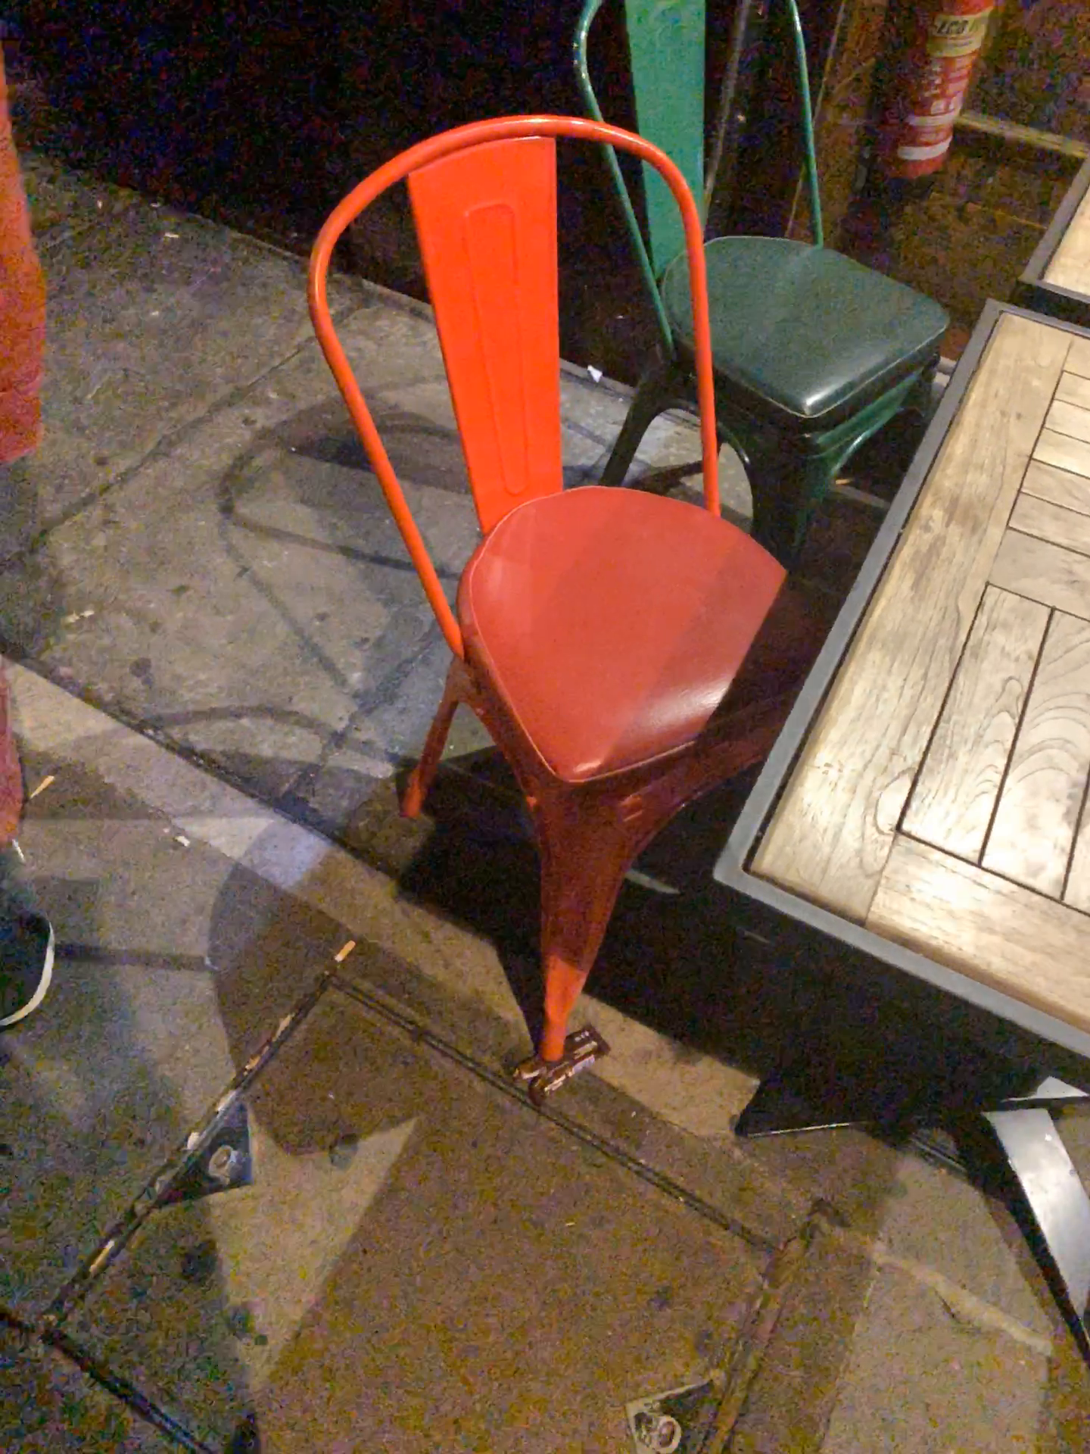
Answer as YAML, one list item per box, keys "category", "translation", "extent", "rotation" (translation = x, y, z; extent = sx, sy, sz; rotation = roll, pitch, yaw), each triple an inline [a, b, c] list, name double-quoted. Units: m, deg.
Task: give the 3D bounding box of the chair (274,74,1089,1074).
- category: "chair"
  translation: [0.064, -0.125, 1.170]
  extent: [0.431, 0.813, 0.513]
  rotation: [-24, 55, -24]

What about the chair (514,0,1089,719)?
- category: "chair"
  translation: [0.309, -0.538, 1.535]
  extent: [0.432, 0.832, 0.513]
  rotation: [-32, 55, -23]
